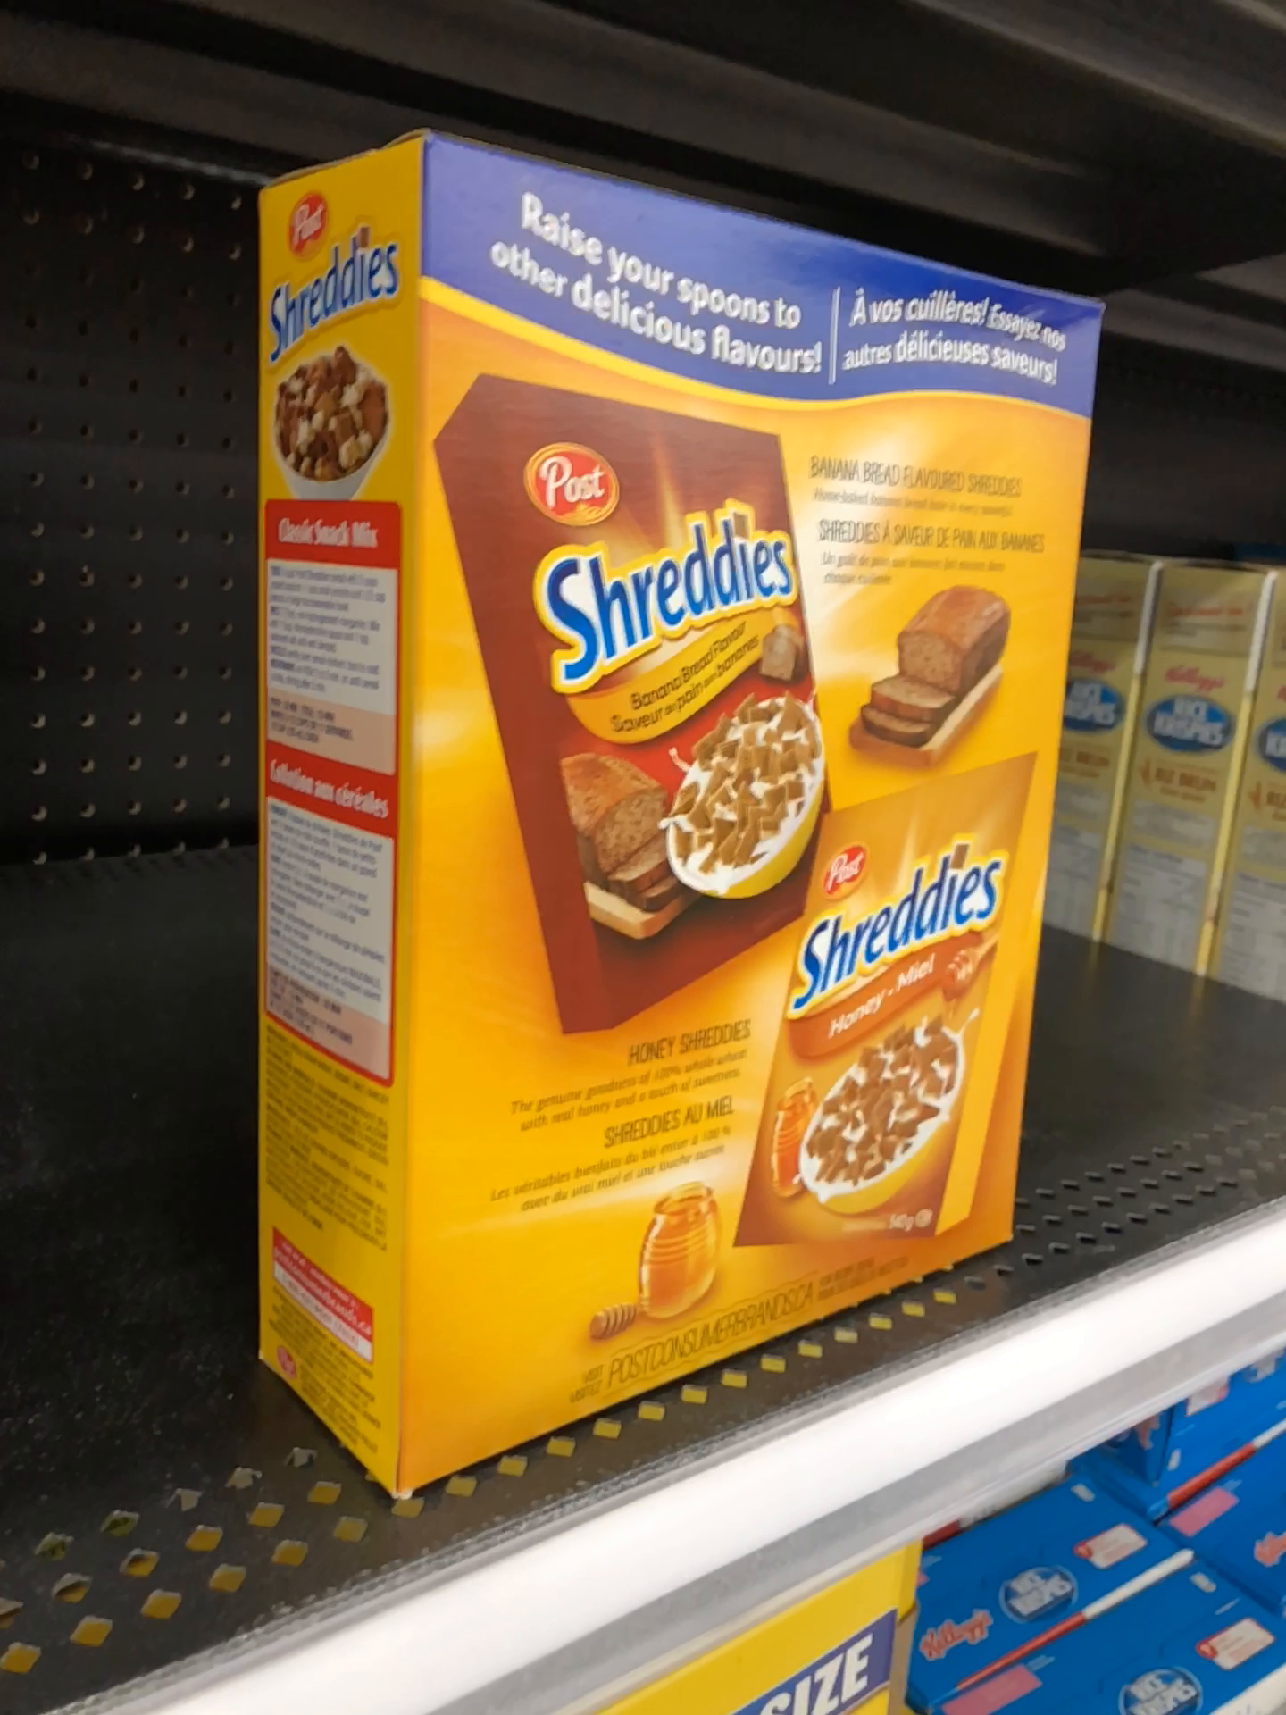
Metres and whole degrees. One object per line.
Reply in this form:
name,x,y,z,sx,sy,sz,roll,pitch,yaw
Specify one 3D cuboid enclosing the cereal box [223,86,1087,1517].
cereal box,0.010,-0.013,0.354,0.210,0.269,0.060,-6,14,-39
